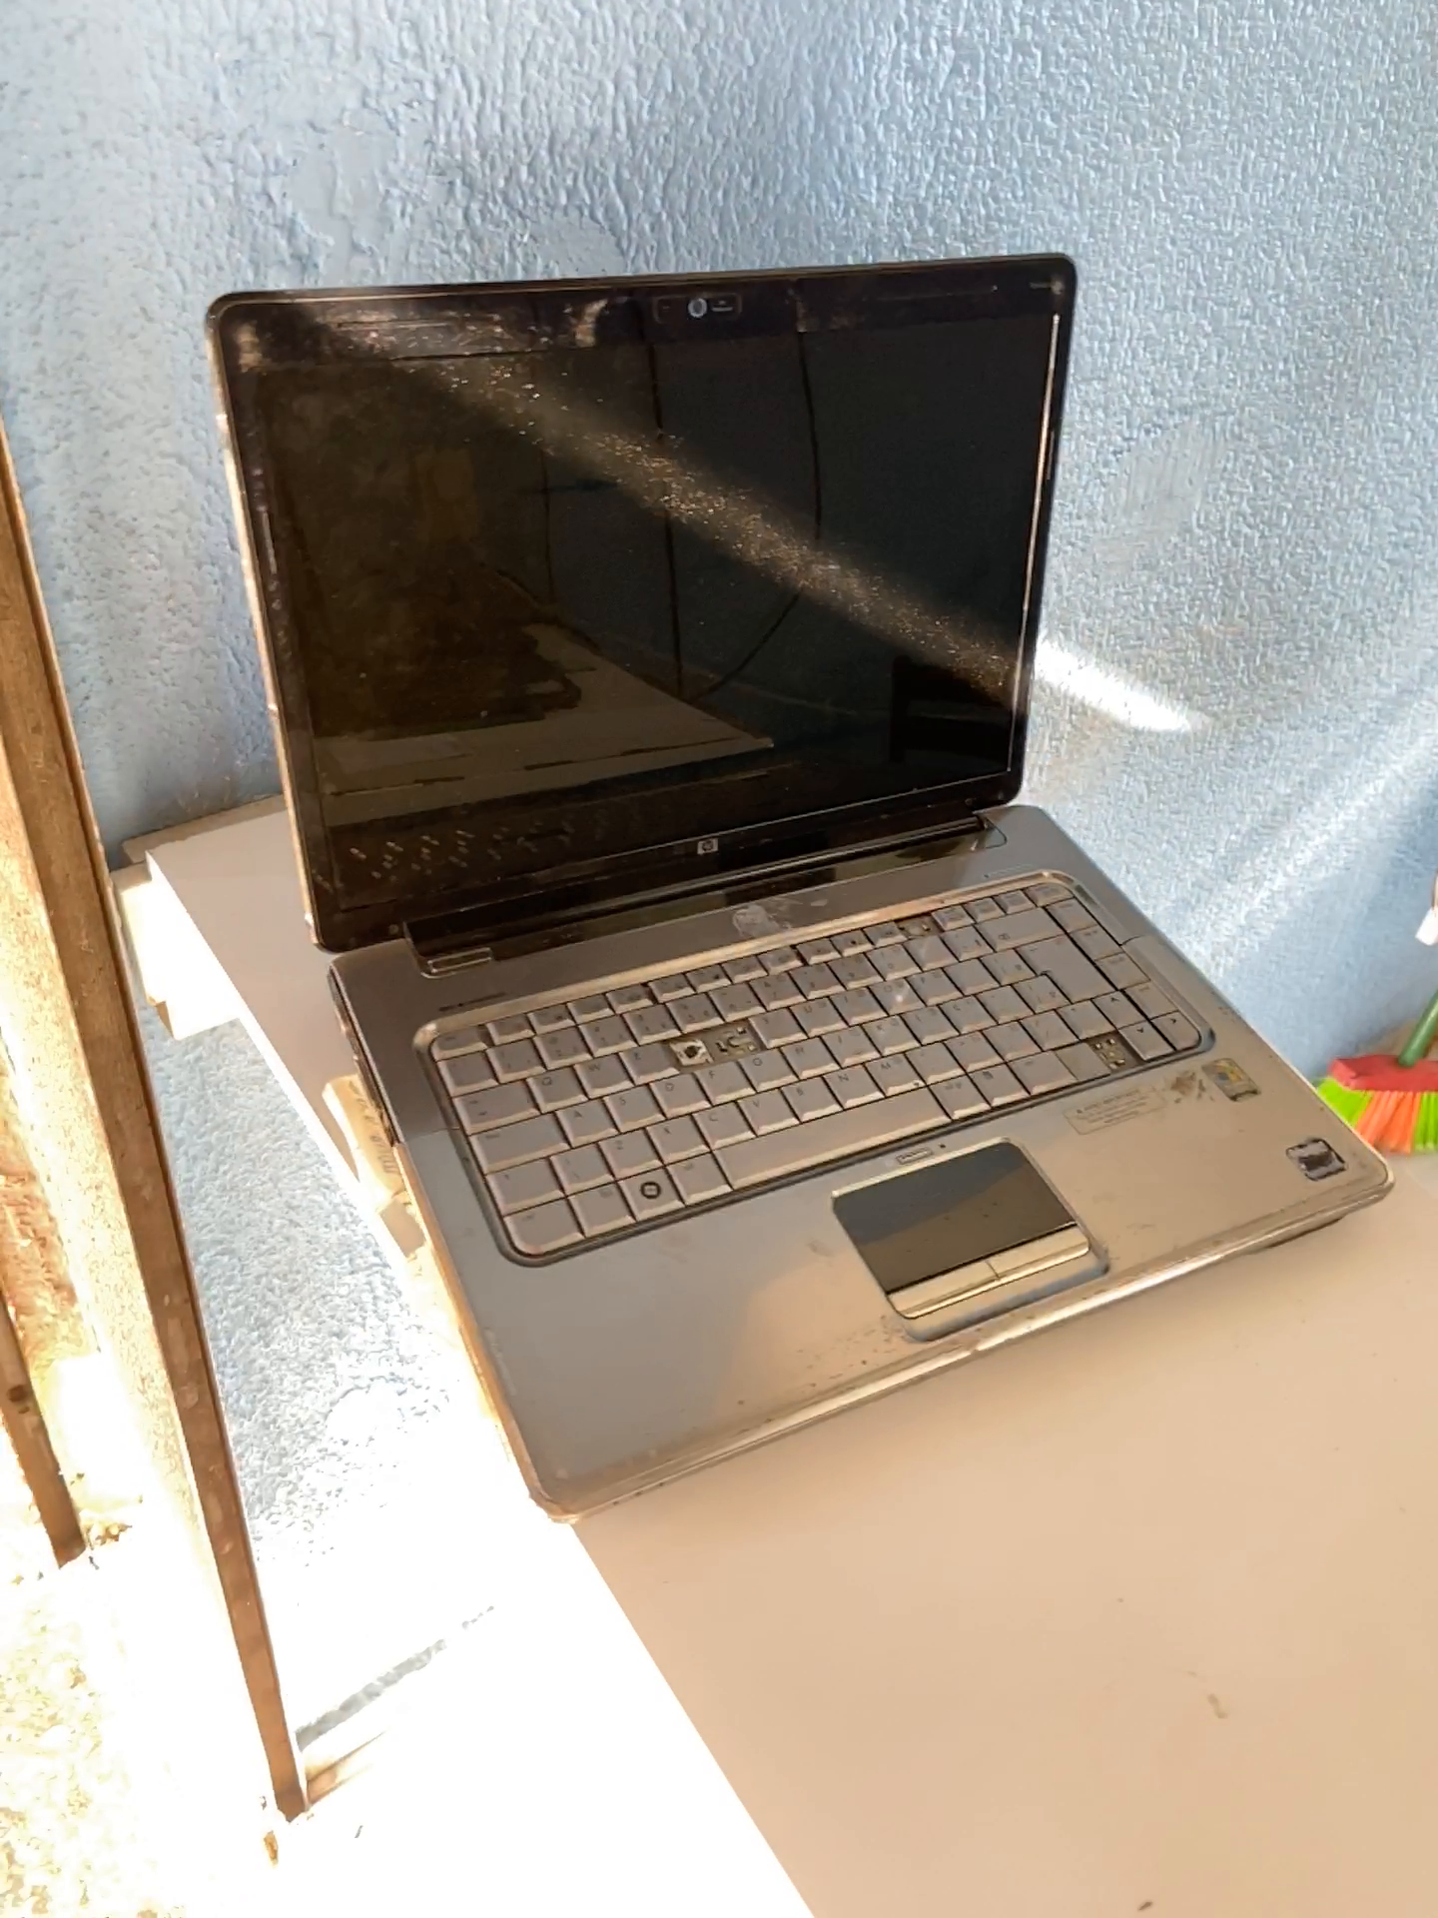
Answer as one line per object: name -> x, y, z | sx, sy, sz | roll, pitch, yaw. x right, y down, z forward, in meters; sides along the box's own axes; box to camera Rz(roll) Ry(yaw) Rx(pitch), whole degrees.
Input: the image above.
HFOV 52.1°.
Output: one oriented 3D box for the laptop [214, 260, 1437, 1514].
laptop -> 0.047, -0.069, 0.533 | 0.352, 0.233, 0.329 | -13, 45, -23
